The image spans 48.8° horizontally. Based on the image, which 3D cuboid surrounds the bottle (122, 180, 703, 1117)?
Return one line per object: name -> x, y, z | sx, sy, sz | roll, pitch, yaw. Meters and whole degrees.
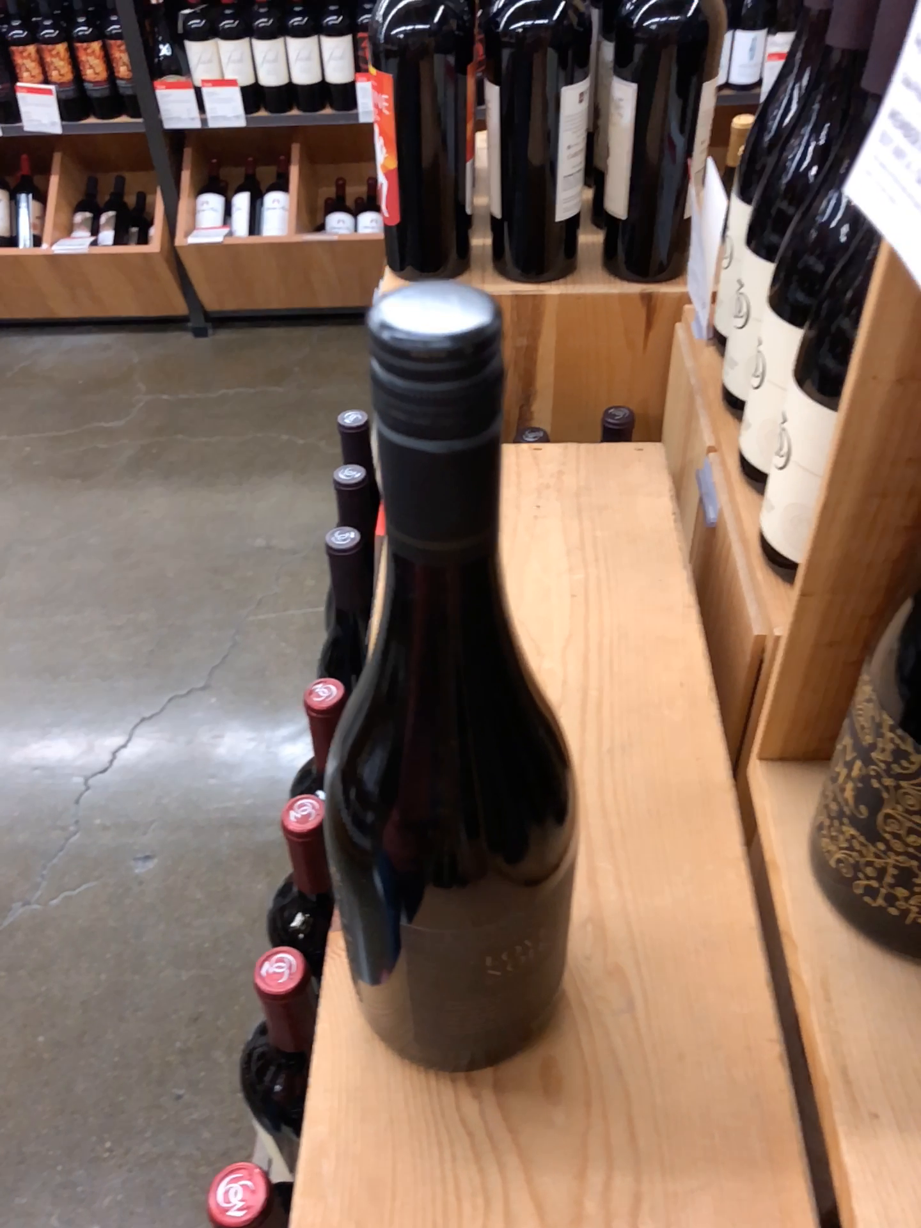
bottle -> -0.005, 0.034, 0.313 | 0.086, 0.285, 0.090 | -1, 43, 1
